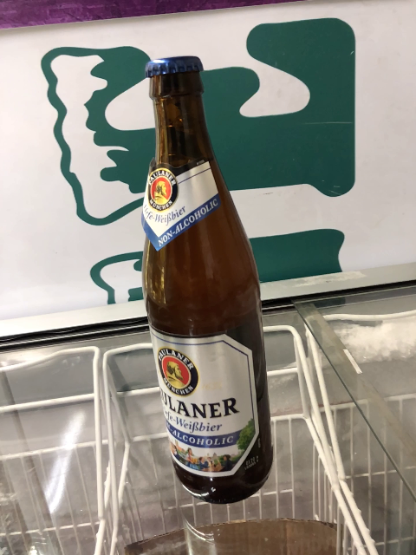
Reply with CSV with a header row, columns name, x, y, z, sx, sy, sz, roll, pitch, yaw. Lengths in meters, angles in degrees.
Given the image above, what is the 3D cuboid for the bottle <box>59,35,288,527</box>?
name,x,y,z,sx,sy,sz,roll,pitch,yaw
bottle,-0.008,0.008,0.250,0.070,0.238,0.060,9,26,37
